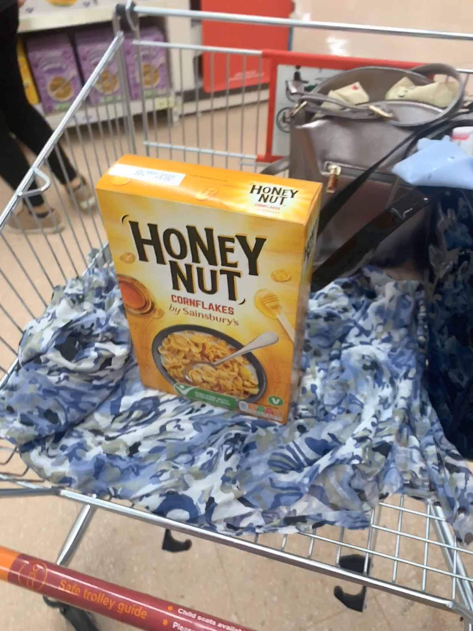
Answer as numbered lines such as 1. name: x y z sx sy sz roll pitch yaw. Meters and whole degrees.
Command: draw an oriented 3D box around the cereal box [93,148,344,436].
1. cereal box: -0.014 -0.011 0.540 0.210 0.297 0.081 12 45 13
